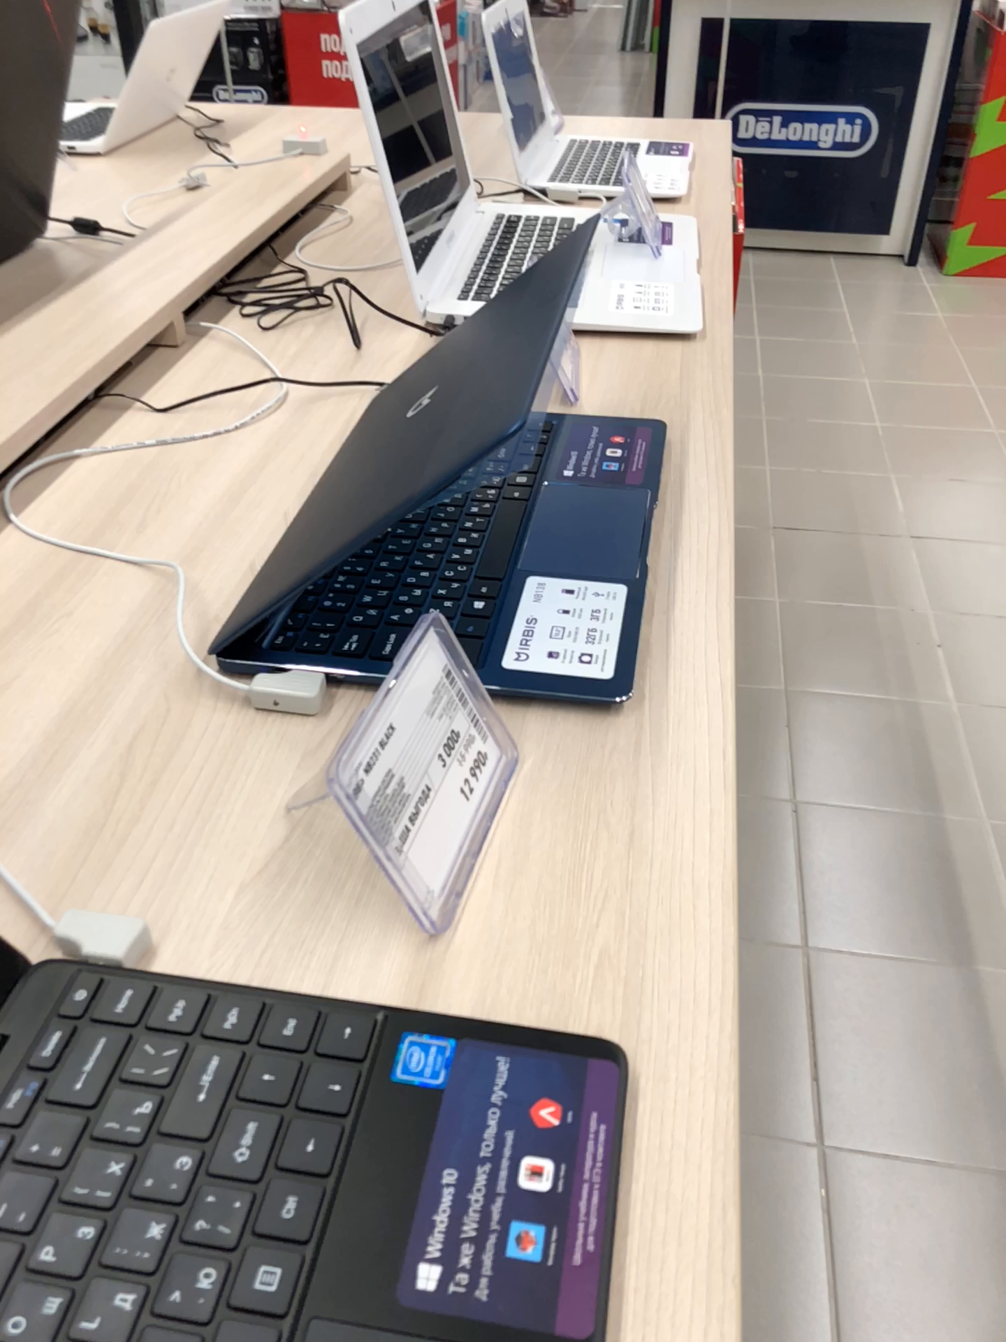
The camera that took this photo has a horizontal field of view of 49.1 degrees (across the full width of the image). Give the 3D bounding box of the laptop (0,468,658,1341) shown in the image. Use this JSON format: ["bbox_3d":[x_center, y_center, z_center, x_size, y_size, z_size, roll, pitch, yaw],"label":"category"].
[{"bbox_3d":[-0.142,0.117,0.210,0.322,0.165,0.295,7,36,8],"label":"laptop"}]

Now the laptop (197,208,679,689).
[{"bbox_3d":[-0.010,-0.146,0.619,0.189,0.124,0.310,8,37,7],"label":"laptop"}]

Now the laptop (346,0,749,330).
[{"bbox_3d":[0.043,-0.494,1.004,0.302,0.212,0.341,6,38,8],"label":"laptop"}]
